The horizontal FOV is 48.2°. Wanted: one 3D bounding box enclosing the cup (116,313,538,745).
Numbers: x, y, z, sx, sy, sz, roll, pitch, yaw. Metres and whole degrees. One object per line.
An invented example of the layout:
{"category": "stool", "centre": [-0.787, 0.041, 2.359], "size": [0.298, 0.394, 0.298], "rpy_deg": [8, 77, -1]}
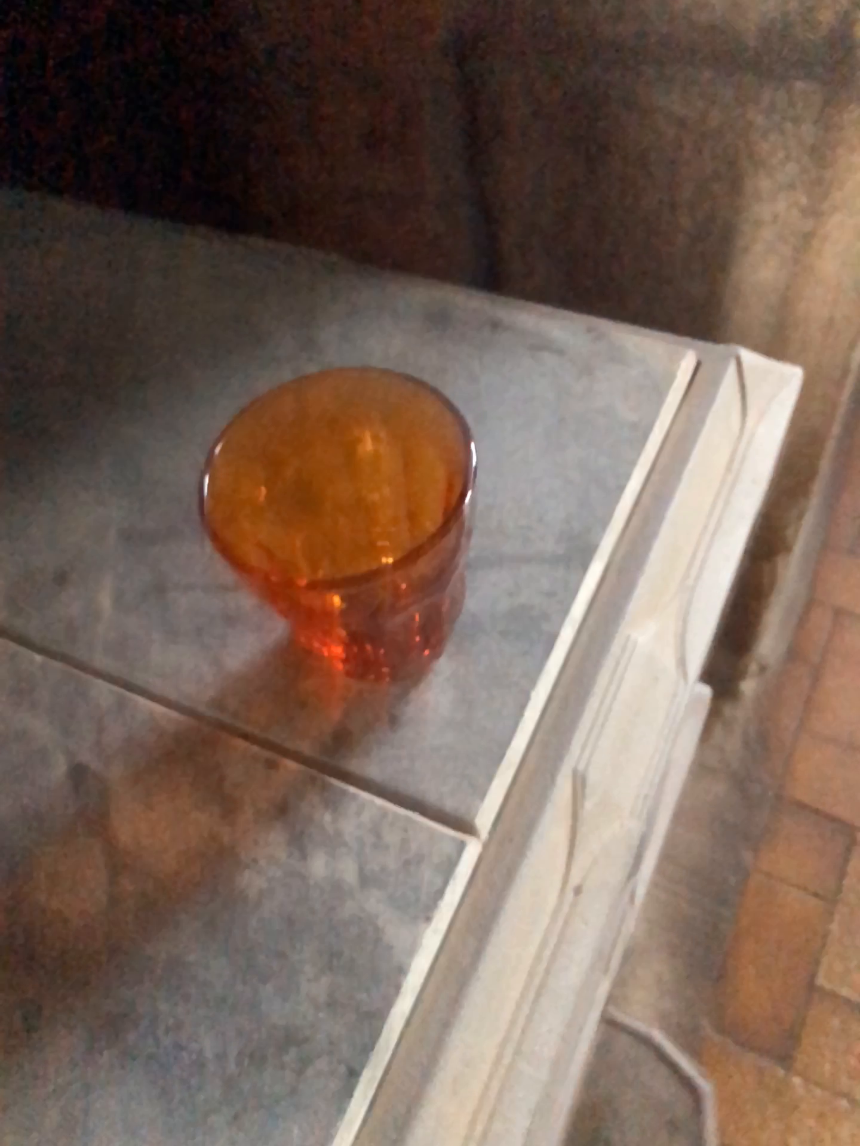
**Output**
{"category": "cup", "centre": [-0.022, -0.013, 0.274], "size": [0.080, 0.070, 0.080], "rpy_deg": [-4, 56, 6]}
